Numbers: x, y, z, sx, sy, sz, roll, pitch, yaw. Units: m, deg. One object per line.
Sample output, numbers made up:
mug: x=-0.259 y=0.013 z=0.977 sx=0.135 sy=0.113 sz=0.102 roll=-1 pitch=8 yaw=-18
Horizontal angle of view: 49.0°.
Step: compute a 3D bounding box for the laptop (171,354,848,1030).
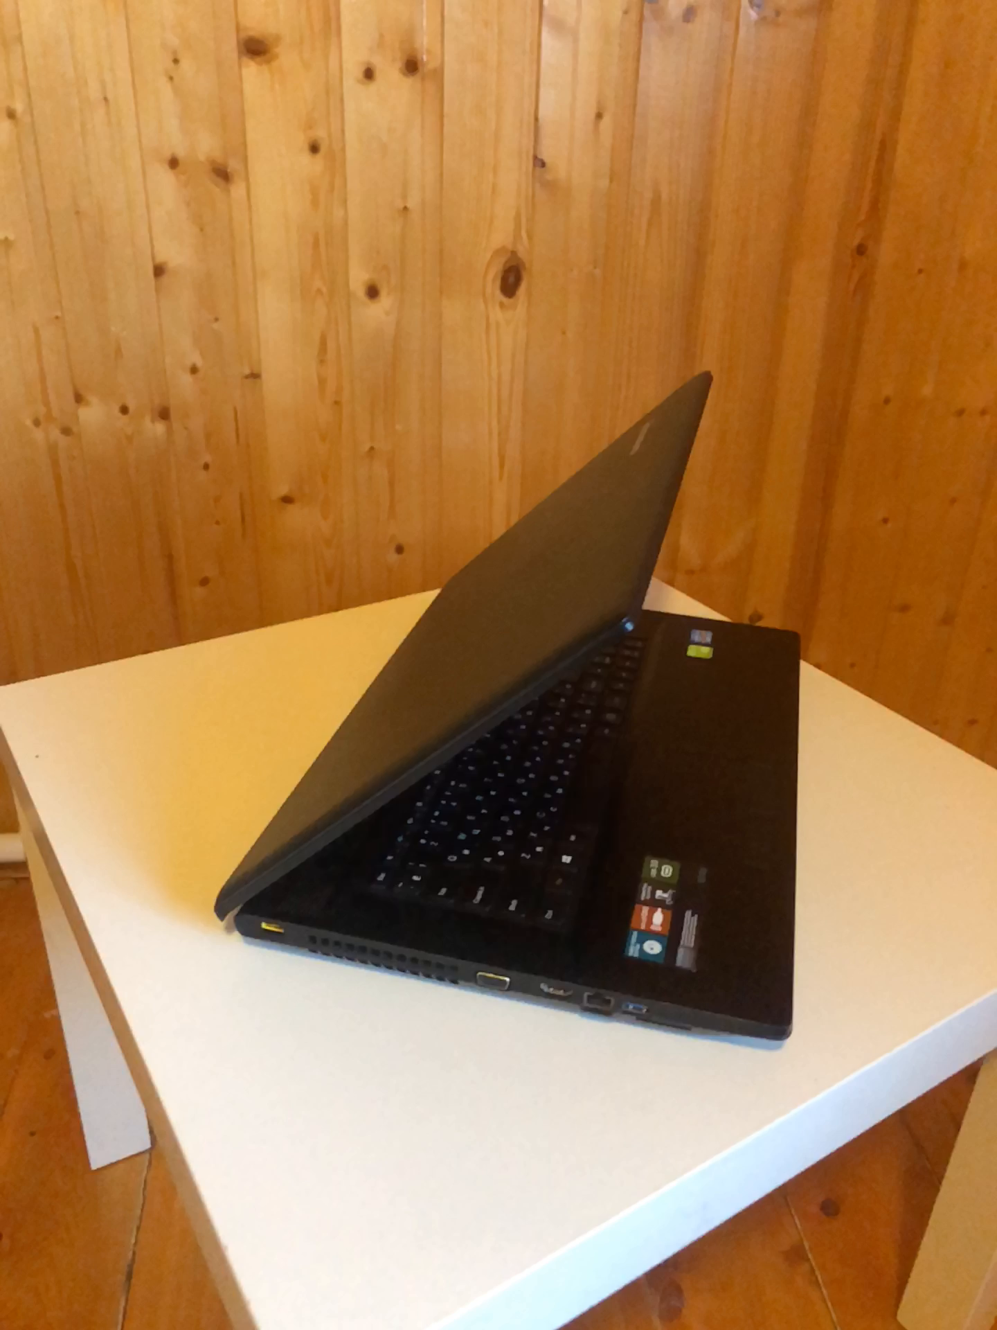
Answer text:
laptop: x=0.045 y=-0.034 z=0.644 sx=0.271 sy=0.184 sz=0.413 roll=9 pitch=29 yaw=12
